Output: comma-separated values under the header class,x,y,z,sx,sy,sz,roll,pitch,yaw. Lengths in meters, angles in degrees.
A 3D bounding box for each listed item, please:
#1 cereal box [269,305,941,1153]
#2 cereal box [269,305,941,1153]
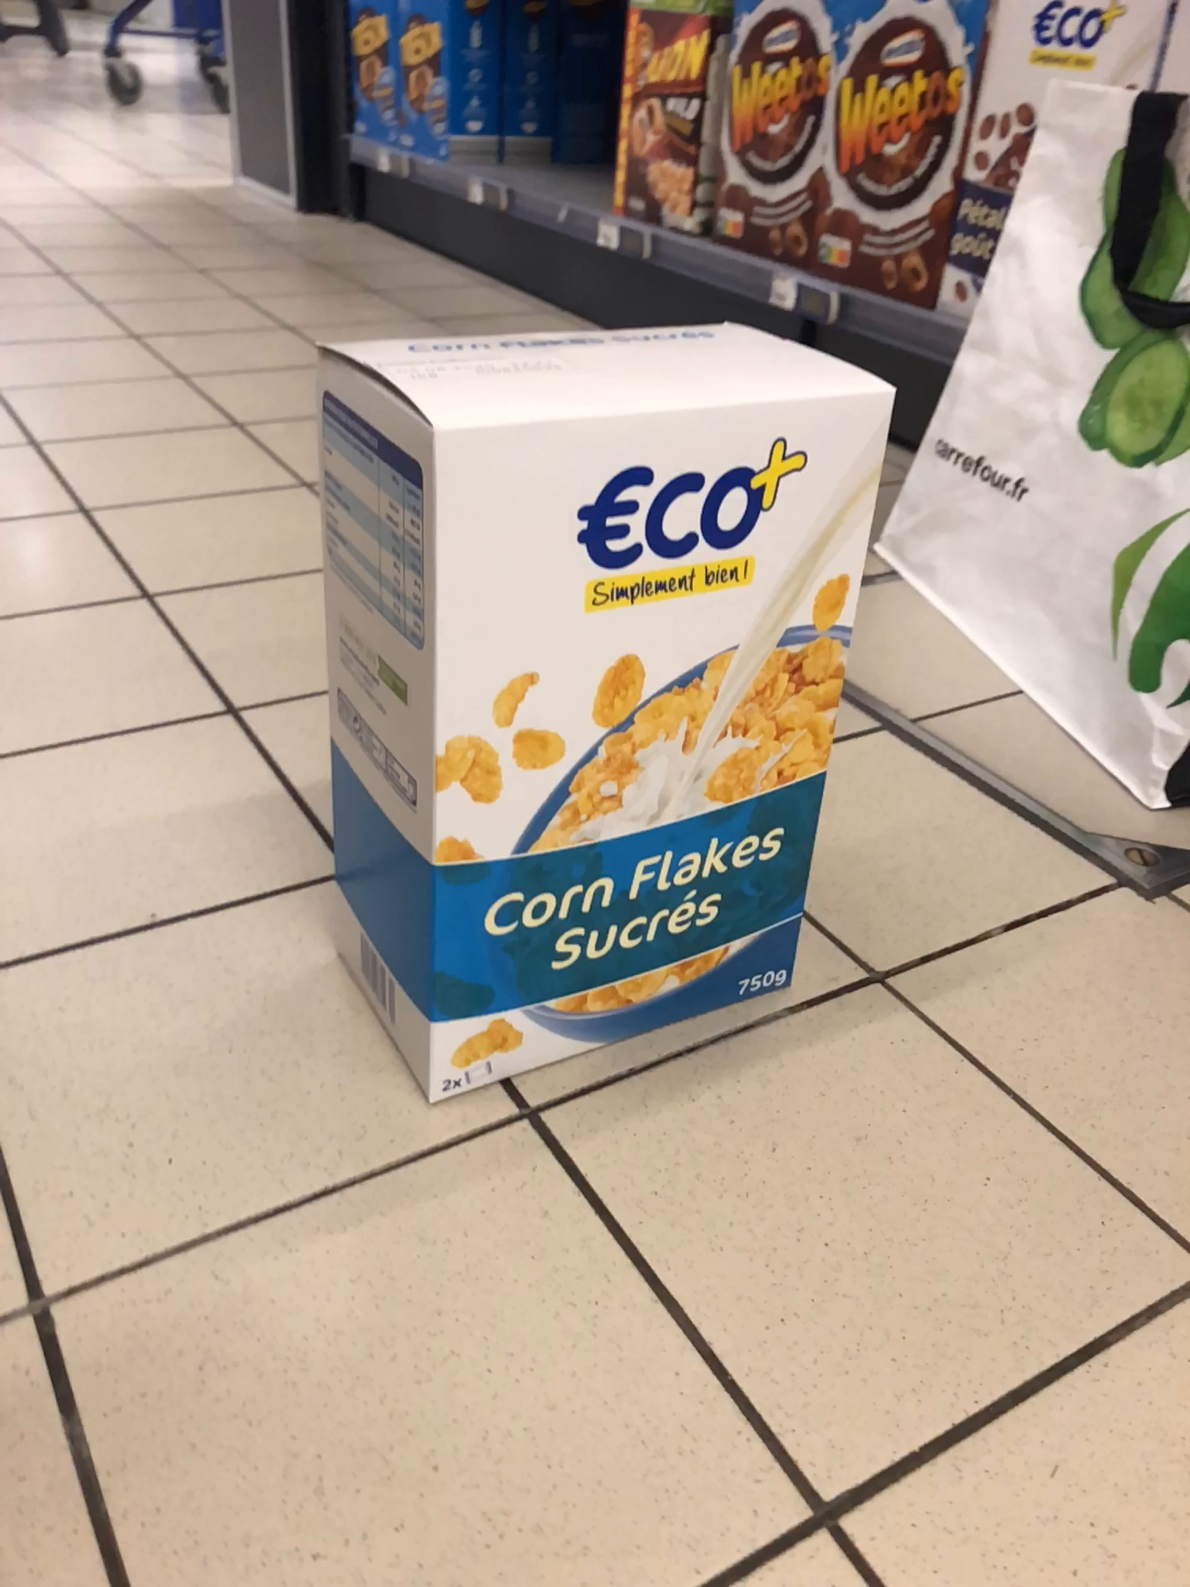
class,x,y,z,sx,sy,sz,roll,pitch,yaw
cereal box,-0.006,-0.035,0.552,0.211,0.298,0.130,-12,33,-26
cereal box,-0.006,-0.035,0.552,0.211,0.298,0.130,-12,33,-26
